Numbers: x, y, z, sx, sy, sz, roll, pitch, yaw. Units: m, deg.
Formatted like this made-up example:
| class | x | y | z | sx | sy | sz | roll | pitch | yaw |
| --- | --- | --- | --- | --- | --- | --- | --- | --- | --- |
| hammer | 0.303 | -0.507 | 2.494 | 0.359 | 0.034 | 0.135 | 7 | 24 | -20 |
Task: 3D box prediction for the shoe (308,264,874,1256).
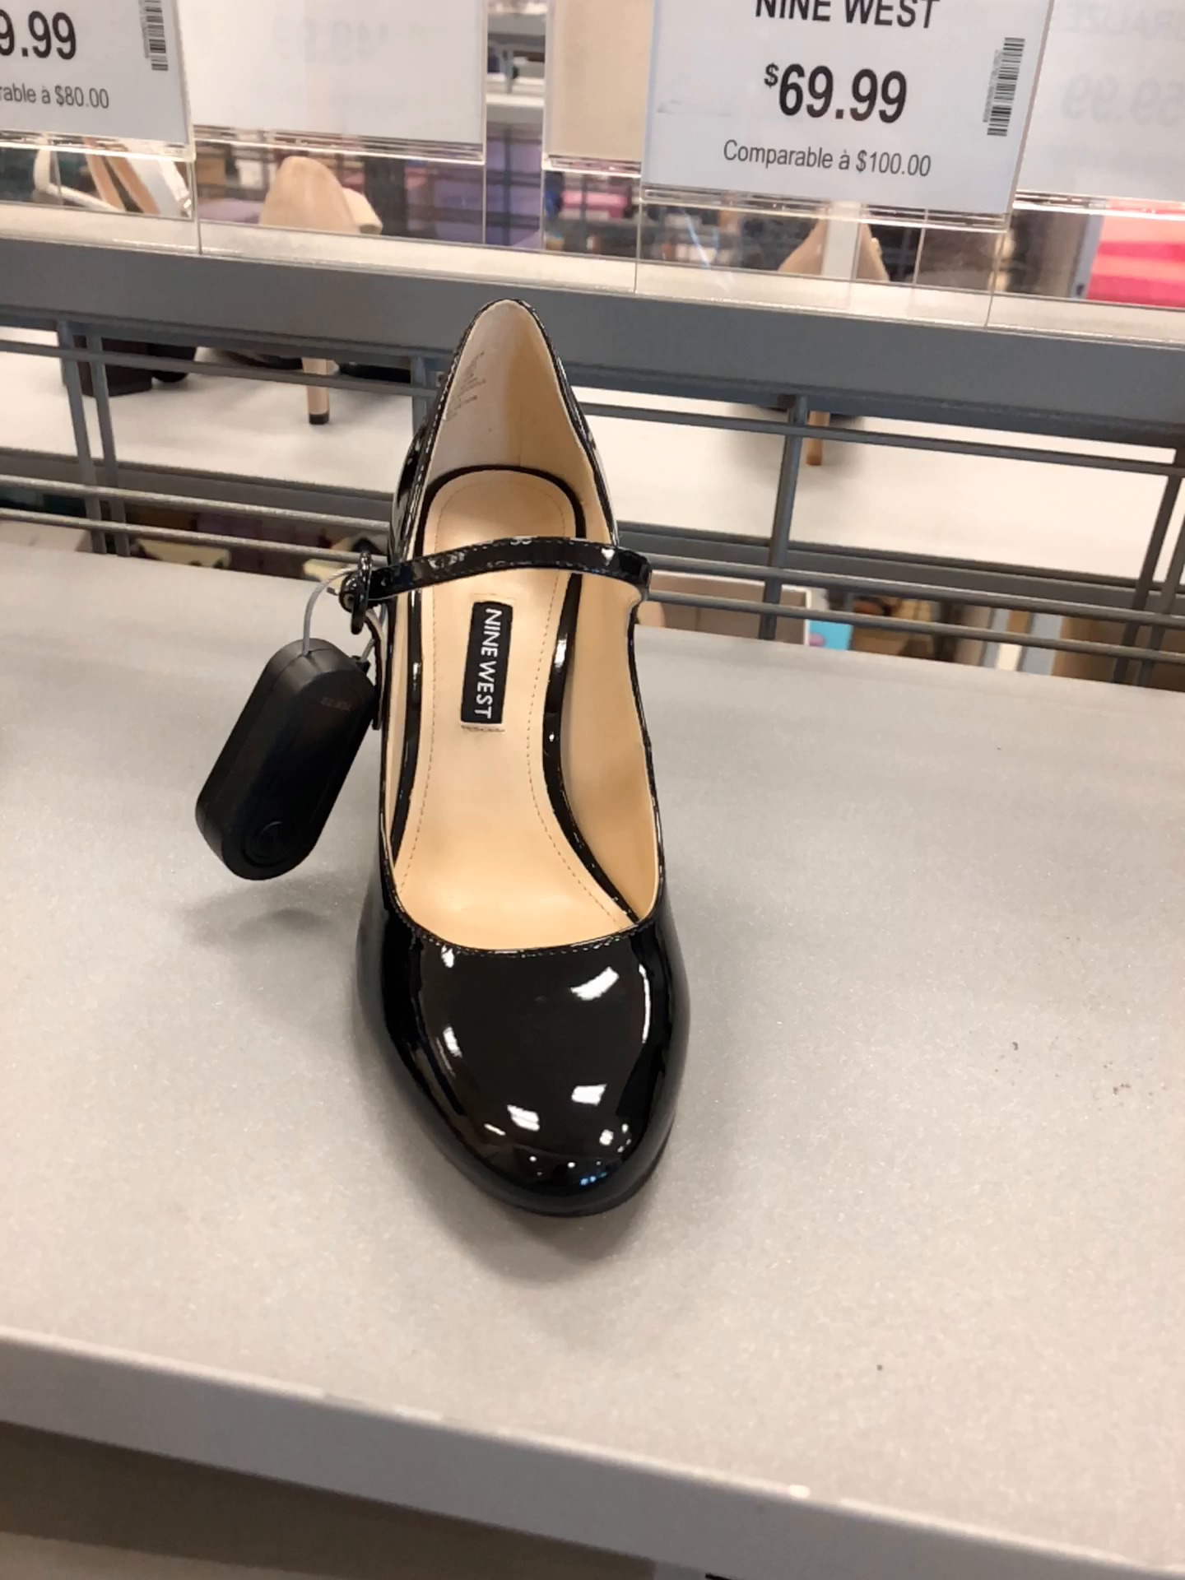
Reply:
| class | x | y | z | sx | sy | sz | roll | pitch | yaw |
| --- | --- | --- | --- | --- | --- | --- | --- | --- | --- |
| shoe | -0.019 | -0.034 | 0.354 | 0.090 | 0.151 | 0.258 | -1 | 33 | -8 |
